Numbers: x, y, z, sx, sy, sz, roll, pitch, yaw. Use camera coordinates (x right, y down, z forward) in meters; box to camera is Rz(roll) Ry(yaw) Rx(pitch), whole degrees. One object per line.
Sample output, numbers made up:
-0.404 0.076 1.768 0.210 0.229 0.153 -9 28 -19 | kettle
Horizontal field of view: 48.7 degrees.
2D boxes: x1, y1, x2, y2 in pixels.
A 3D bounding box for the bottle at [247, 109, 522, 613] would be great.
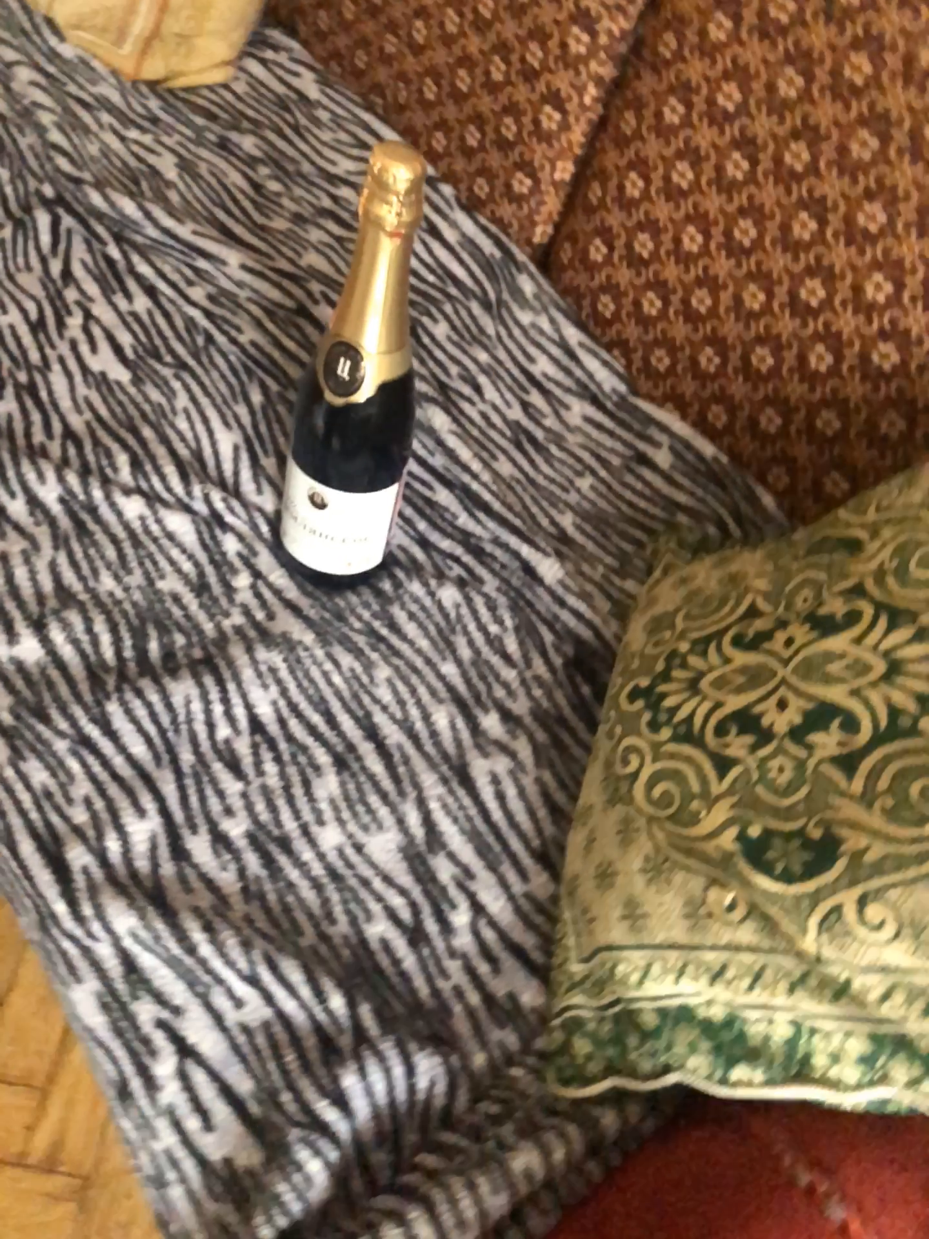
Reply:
-0.062 -0.148 0.648 0.100 0.279 0.100 7 49 -8 | bottle
